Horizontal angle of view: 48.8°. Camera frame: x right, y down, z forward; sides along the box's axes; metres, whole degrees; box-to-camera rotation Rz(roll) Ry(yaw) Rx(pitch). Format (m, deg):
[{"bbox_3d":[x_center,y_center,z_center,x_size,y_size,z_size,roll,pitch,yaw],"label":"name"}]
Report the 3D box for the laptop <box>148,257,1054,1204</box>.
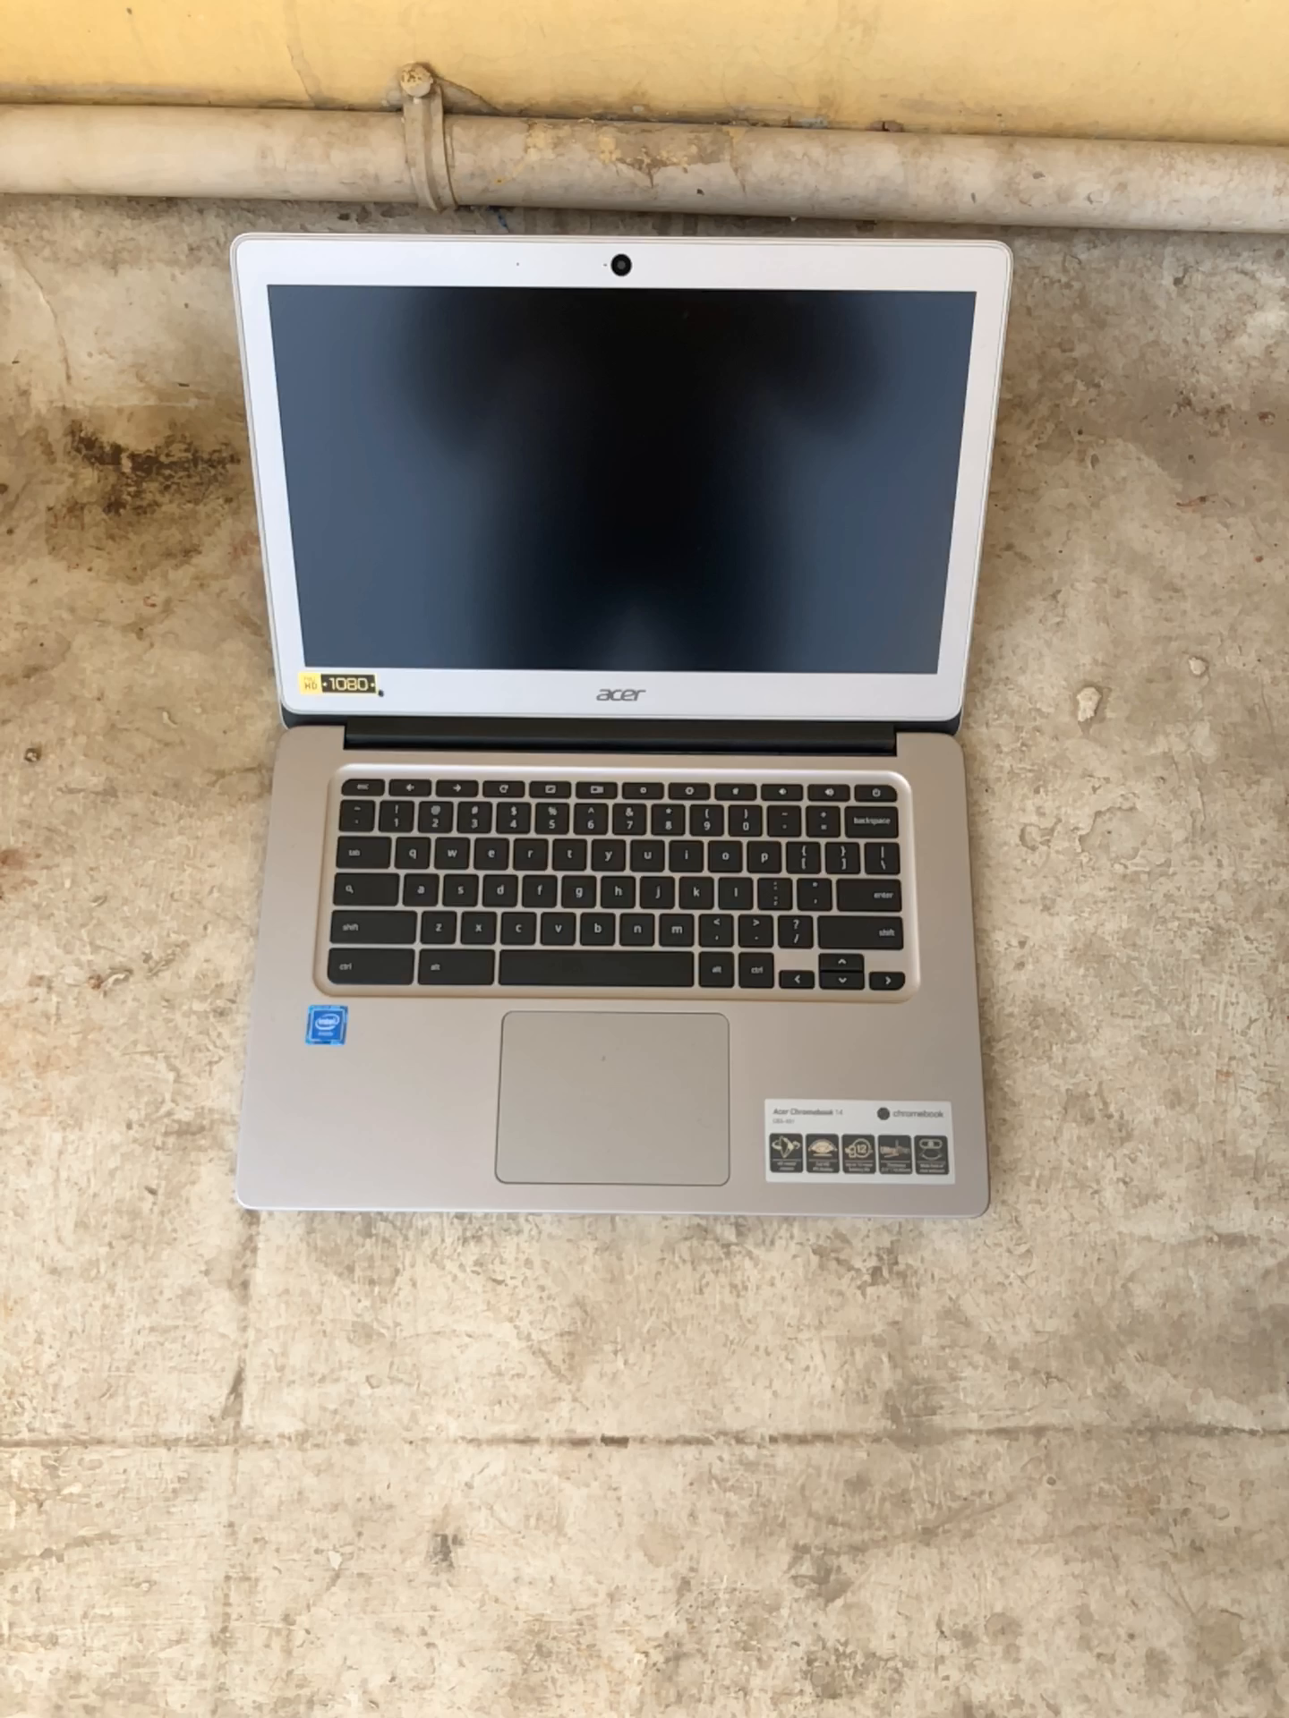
[{"bbox_3d":[-0.017,-0.050,0.611,0.315,0.136,0.379,0,74,0],"label":"laptop"}]
